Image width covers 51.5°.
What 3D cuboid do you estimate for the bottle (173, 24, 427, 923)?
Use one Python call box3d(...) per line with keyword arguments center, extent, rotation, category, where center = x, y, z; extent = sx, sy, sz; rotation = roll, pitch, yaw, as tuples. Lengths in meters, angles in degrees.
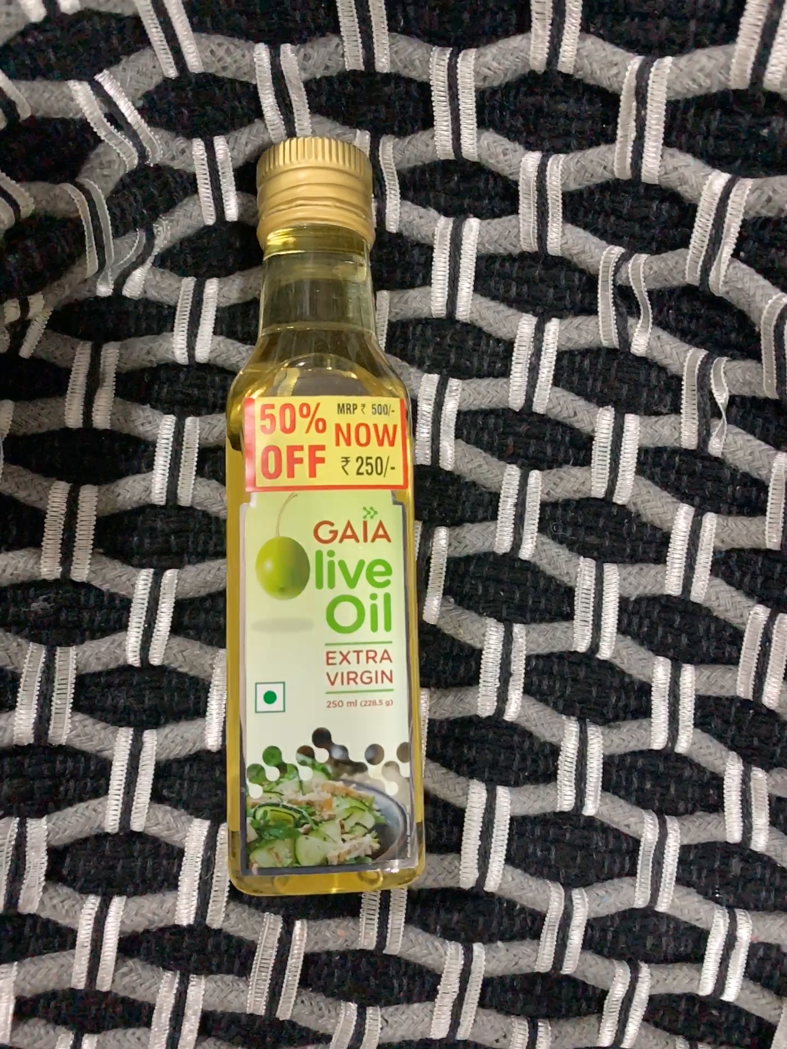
box3d(center=(-0.021, -0.014, 0.197), extent=(0.050, 0.050, 0.190), rotation=(0, 83, -4), category="bottle")
